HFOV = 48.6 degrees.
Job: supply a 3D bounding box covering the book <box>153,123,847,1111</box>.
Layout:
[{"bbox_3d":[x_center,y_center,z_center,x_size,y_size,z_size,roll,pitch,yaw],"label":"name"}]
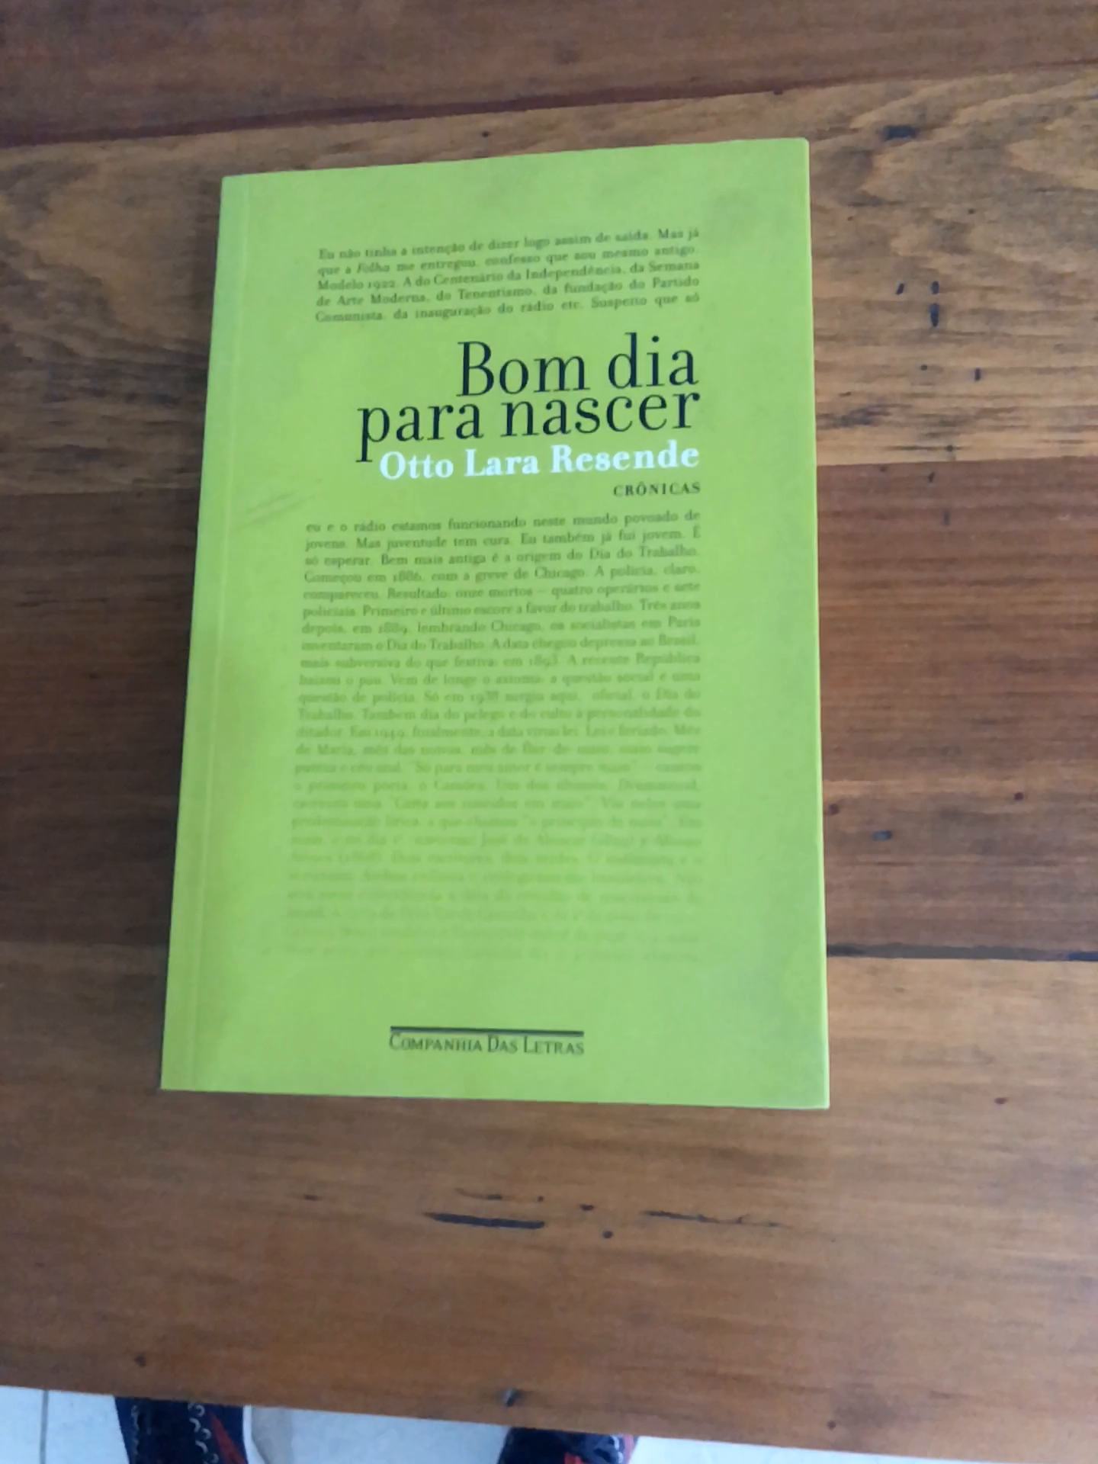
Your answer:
[{"bbox_3d":[-0.008,-0.028,0.270,0.136,0.030,0.208,0,79,7],"label":"book"}]
